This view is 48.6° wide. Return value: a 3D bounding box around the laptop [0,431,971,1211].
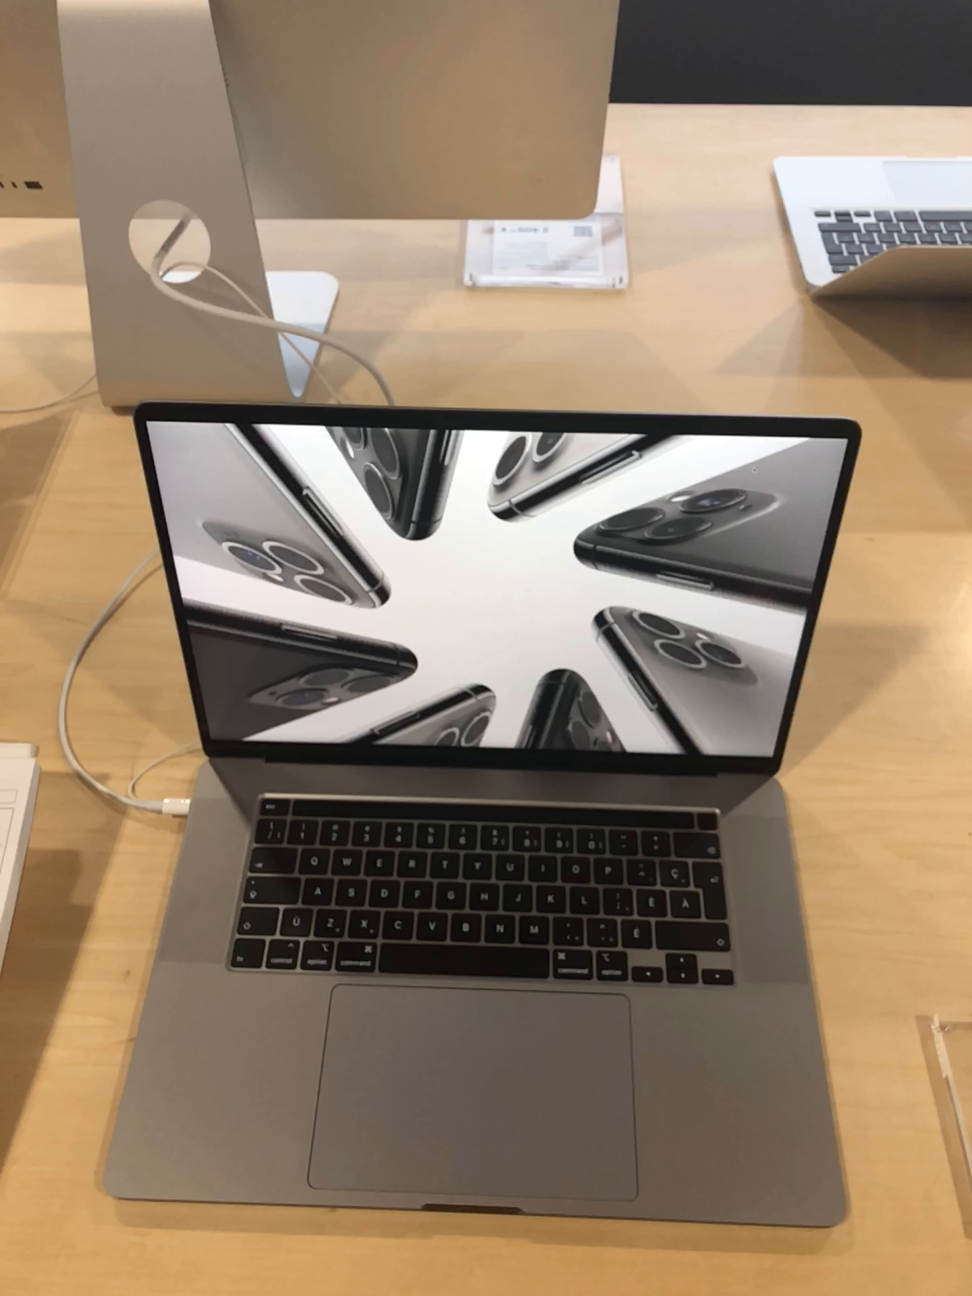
[{"bbox_3d":[0.000,0.080,0.509,0.343,0.227,0.292,1,52,2],"label":"laptop"}]
